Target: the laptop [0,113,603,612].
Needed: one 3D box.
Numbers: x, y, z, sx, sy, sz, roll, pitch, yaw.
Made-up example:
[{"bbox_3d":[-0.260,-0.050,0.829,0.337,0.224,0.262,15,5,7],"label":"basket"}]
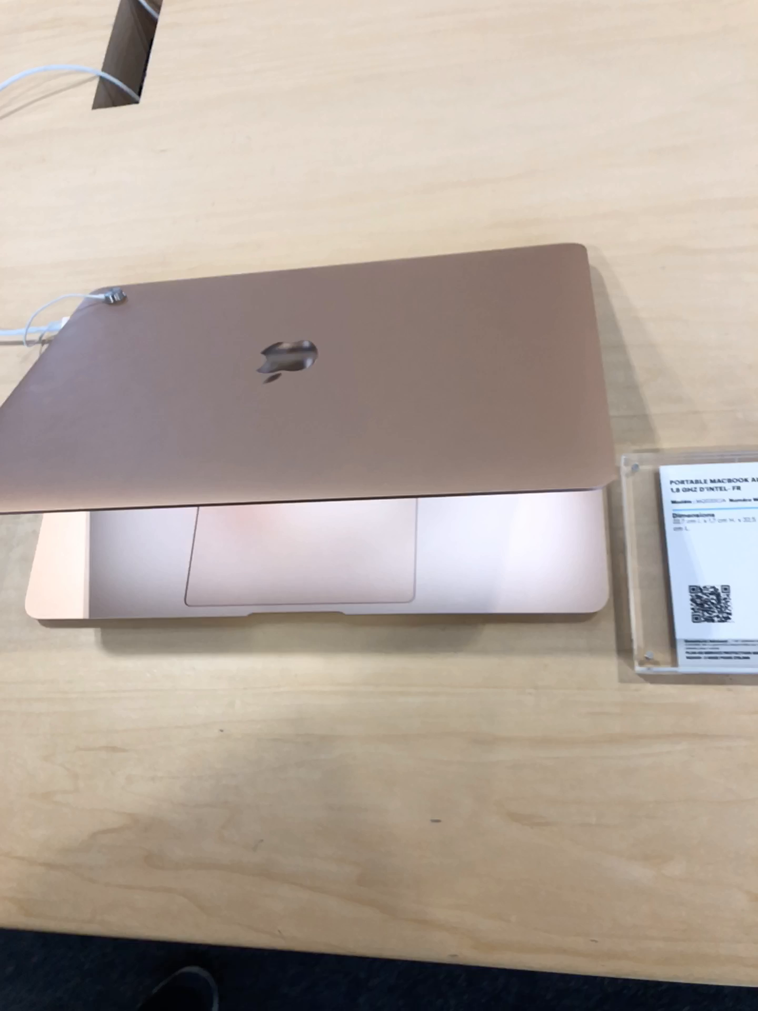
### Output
[{"bbox_3d":[-0.045,-0.061,0.411,0.288,0.093,0.203,-2,65,12],"label":"laptop"}]
